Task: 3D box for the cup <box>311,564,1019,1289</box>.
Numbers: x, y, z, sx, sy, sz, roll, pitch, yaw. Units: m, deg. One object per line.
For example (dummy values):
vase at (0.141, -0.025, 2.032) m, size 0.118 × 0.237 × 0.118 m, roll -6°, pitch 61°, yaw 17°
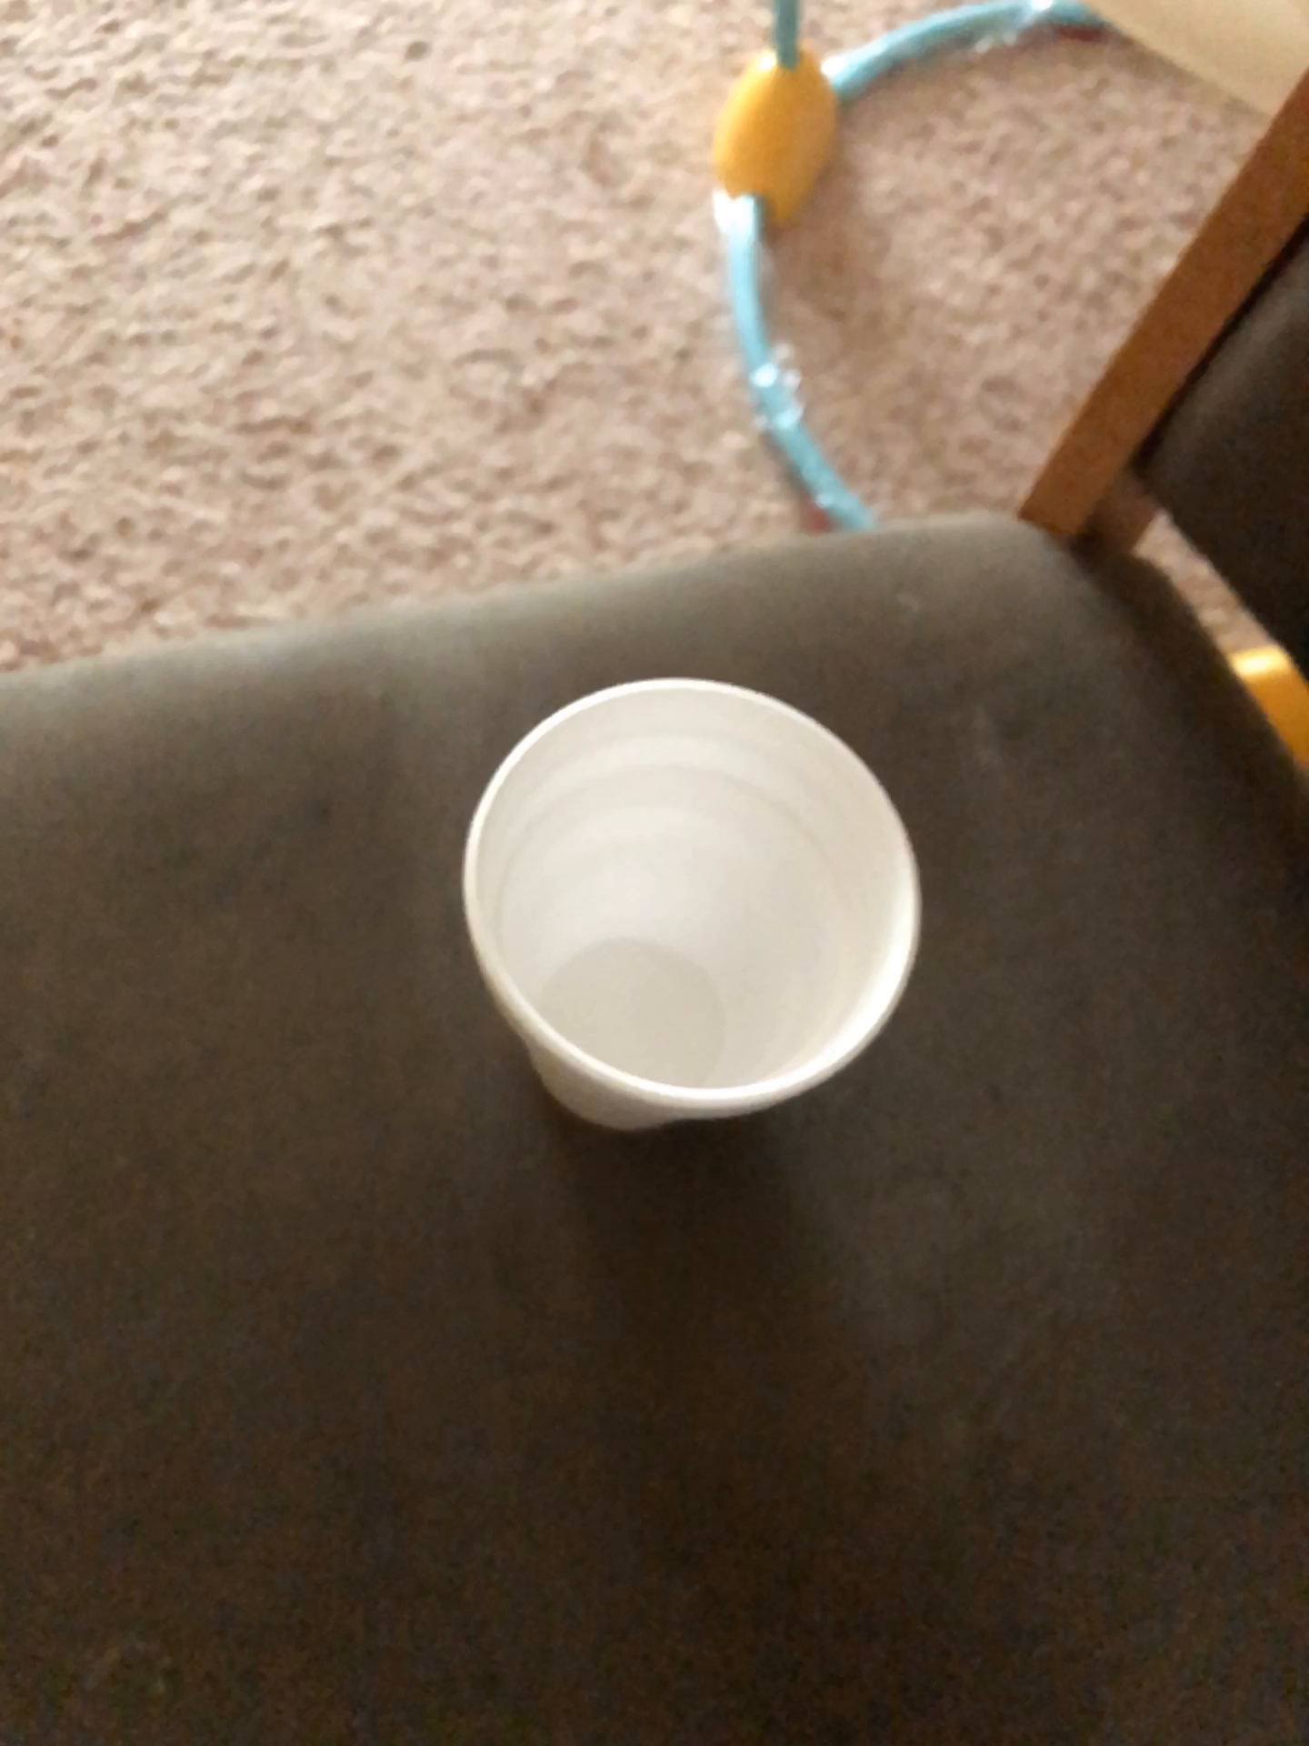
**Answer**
cup at (-0.001, 0.014, 0.300) m, size 0.090 × 0.080 × 0.090 m, roll 3°, pitch 67°, yaw -6°
